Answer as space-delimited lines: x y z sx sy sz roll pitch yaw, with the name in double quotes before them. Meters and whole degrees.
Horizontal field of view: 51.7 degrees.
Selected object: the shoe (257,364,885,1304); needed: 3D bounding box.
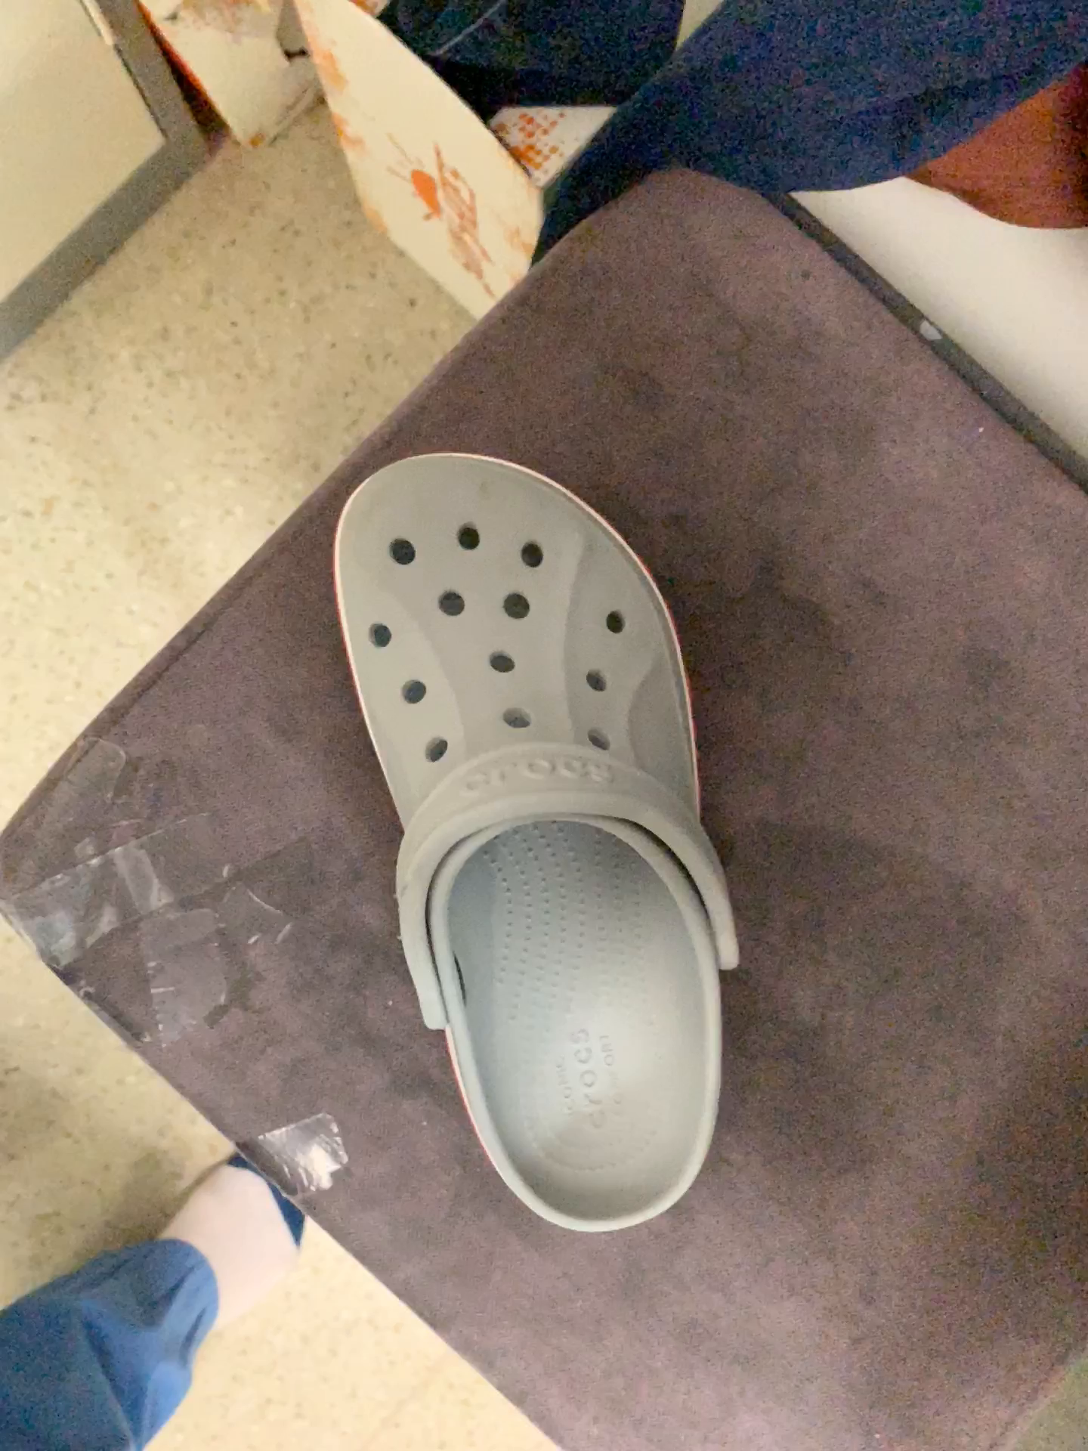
"shoe" 0.006 0.029 0.350 0.119 0.075 0.238 -14 88 -2
